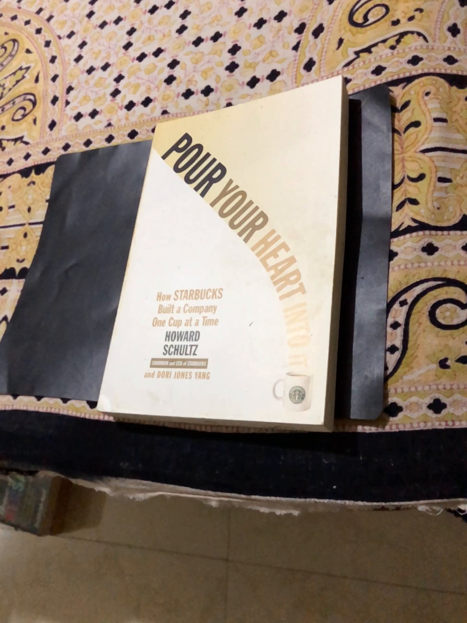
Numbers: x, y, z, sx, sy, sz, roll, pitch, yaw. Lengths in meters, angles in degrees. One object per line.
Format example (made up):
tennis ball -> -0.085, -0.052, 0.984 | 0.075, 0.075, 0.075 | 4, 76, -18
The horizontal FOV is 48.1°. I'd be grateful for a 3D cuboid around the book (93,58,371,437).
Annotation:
book -> 0.006, -0.044, 0.364 | 0.160, 0.050, 0.240 | -2, 70, 25
